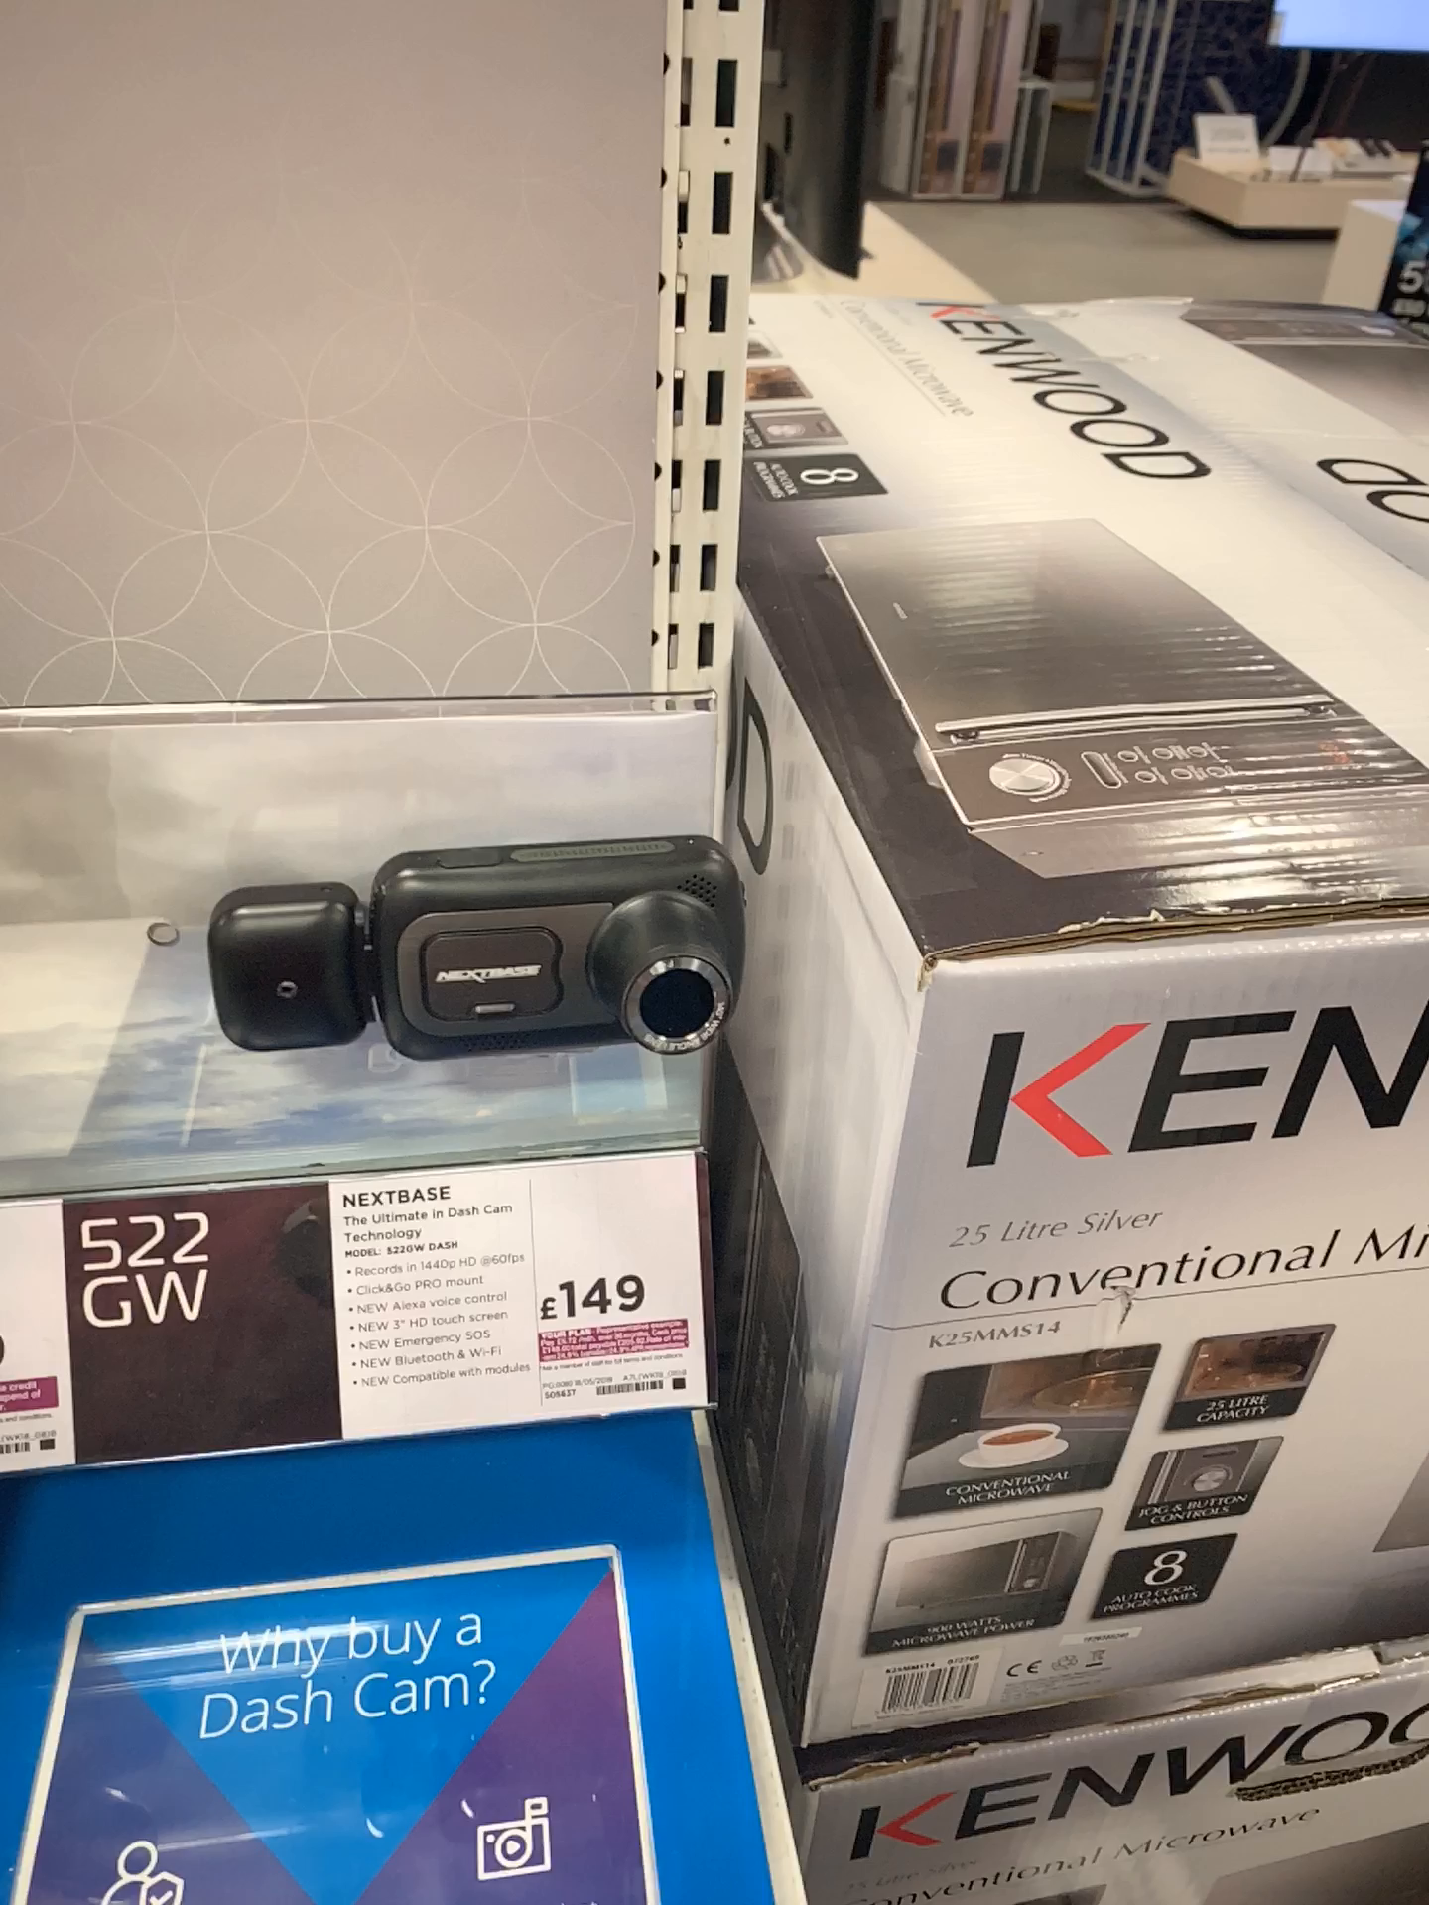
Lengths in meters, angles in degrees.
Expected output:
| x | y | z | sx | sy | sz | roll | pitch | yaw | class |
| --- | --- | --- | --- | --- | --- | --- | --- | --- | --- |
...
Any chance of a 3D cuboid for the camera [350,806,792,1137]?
| x | y | z | sx | sy | sz | roll | pitch | yaw | class |
| --- | --- | --- | --- | --- | --- | --- | --- | --- | --- |
| -0.038 | 0.002 | 0.371 | 0.100 | 0.050 | 0.061 | -6 | 32 | -11 | camera |
